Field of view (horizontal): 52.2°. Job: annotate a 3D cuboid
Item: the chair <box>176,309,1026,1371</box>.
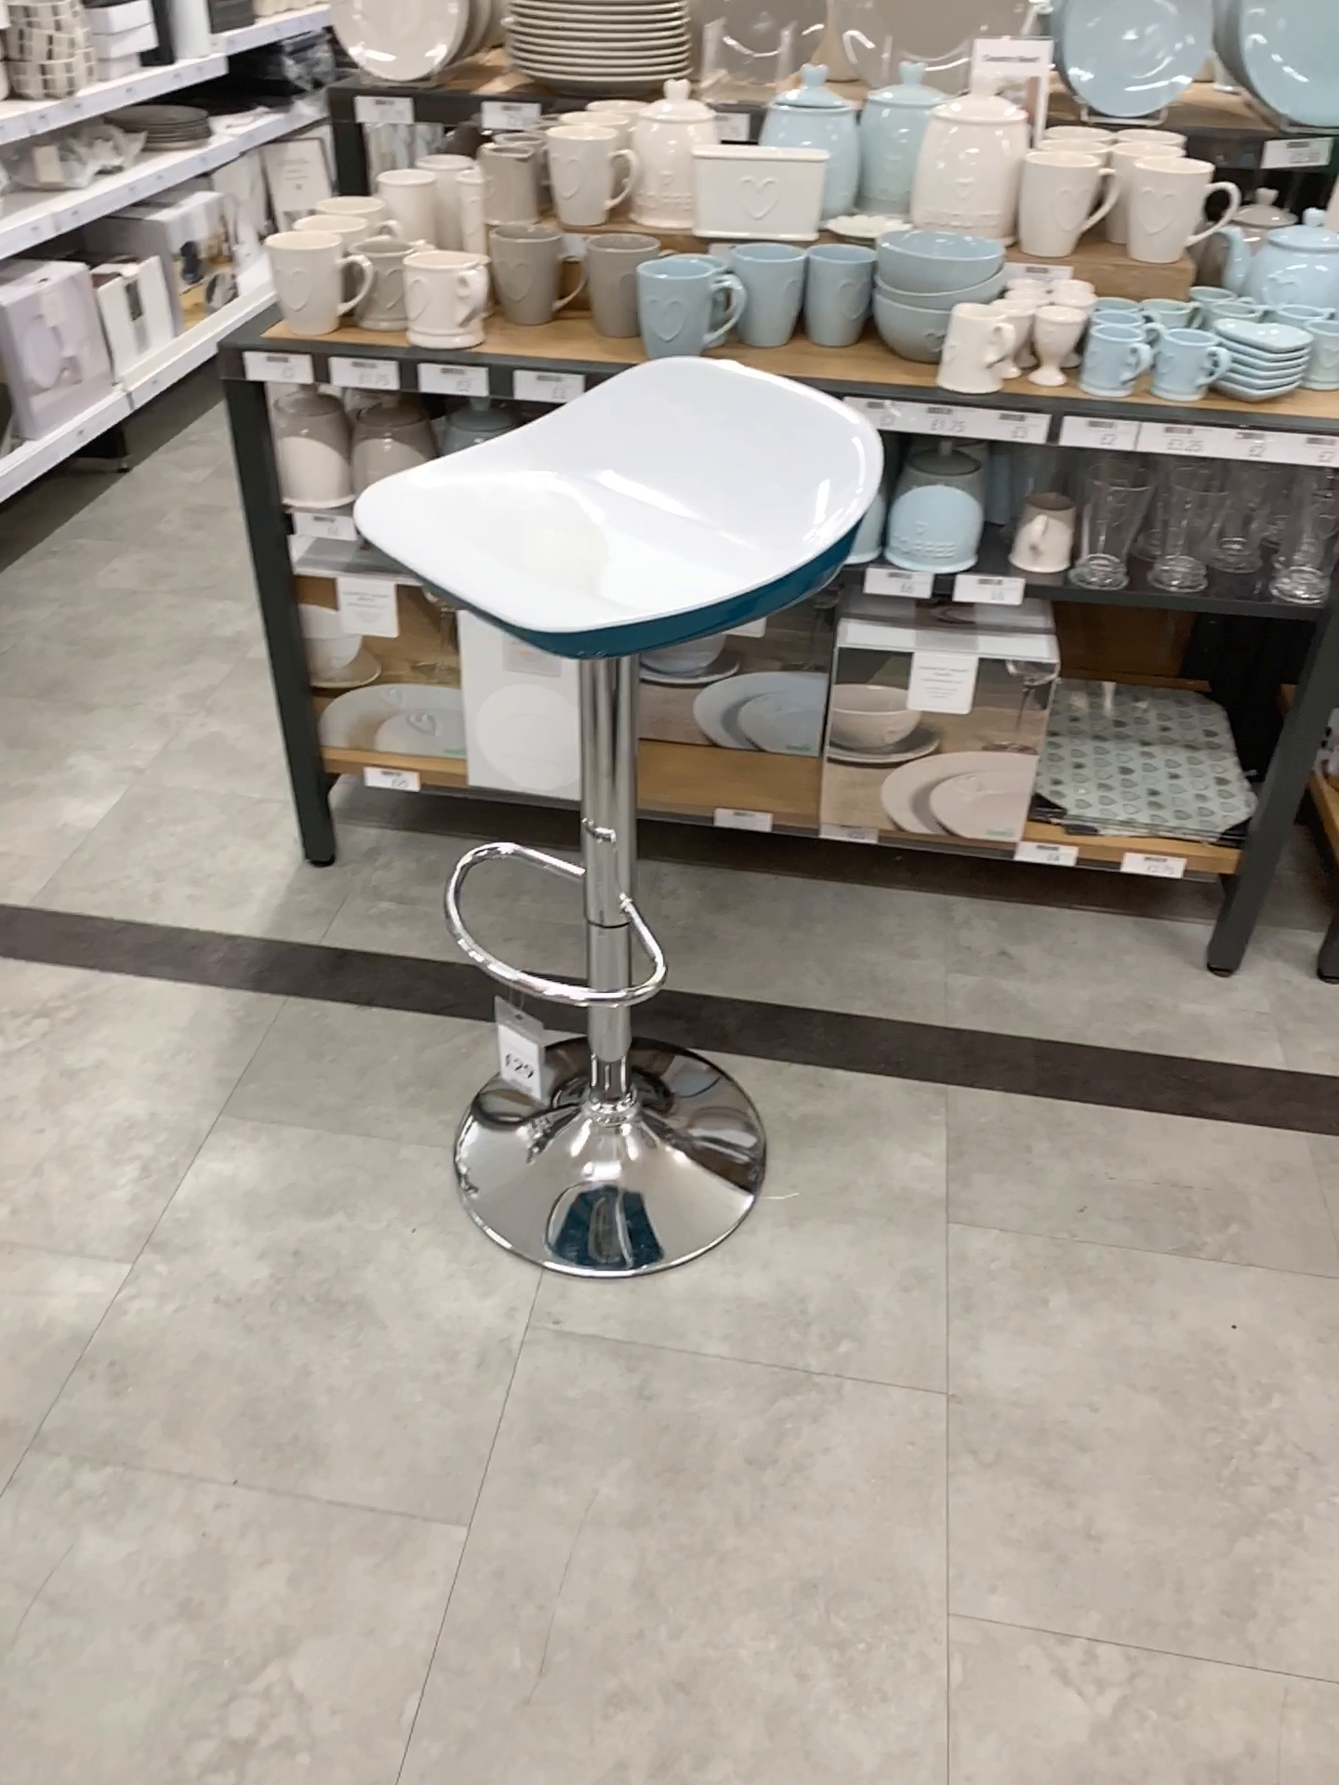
[{"bbox_3d":[-0.068,-0.069,1.332,0.471,0.775,0.505,-29,47,-35],"label":"chair"}]
